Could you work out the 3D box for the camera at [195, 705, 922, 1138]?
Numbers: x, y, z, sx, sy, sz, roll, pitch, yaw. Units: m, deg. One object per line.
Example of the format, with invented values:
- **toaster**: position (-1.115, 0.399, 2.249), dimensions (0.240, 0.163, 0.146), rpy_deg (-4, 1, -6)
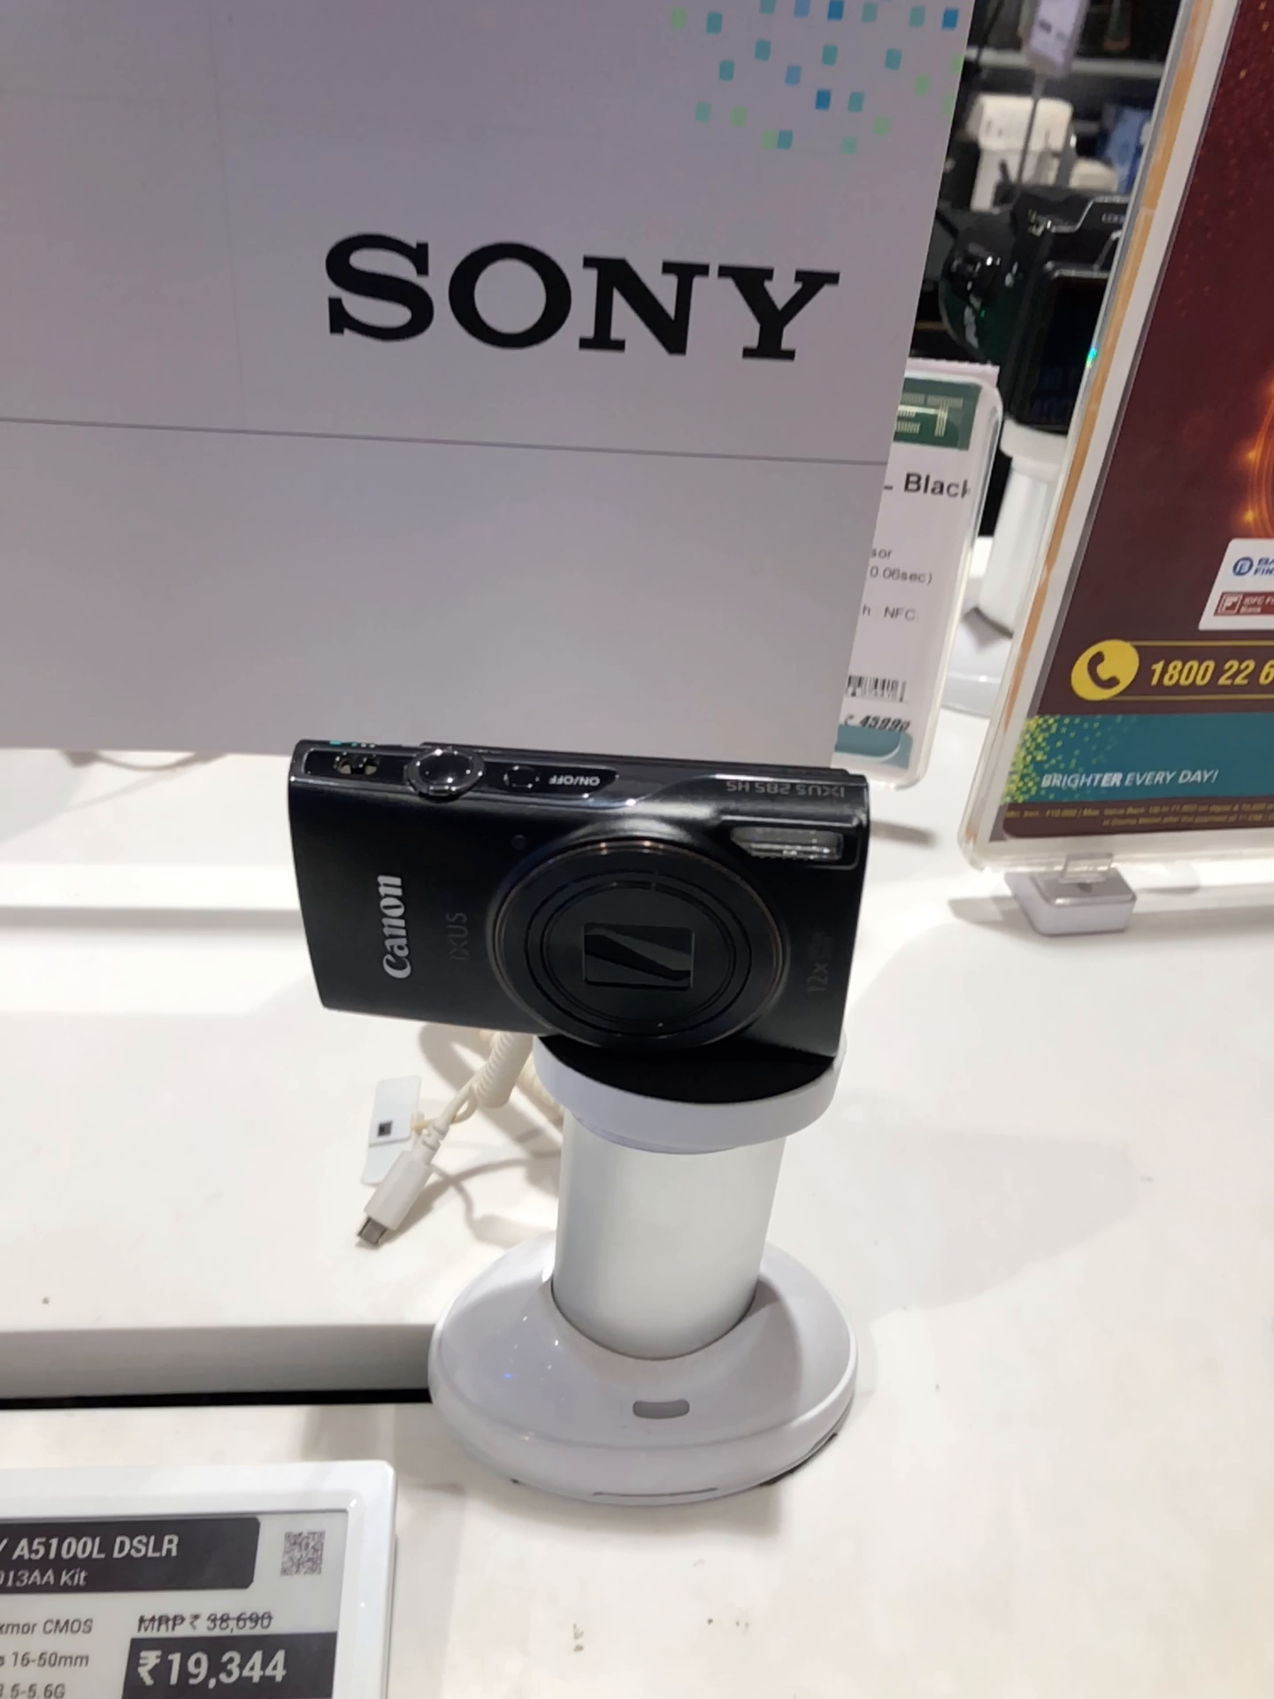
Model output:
- **camera**: position (-0.013, 0.013, 0.243), dimensions (0.110, 0.060, 0.030), rpy_deg (5, 38, 0)
